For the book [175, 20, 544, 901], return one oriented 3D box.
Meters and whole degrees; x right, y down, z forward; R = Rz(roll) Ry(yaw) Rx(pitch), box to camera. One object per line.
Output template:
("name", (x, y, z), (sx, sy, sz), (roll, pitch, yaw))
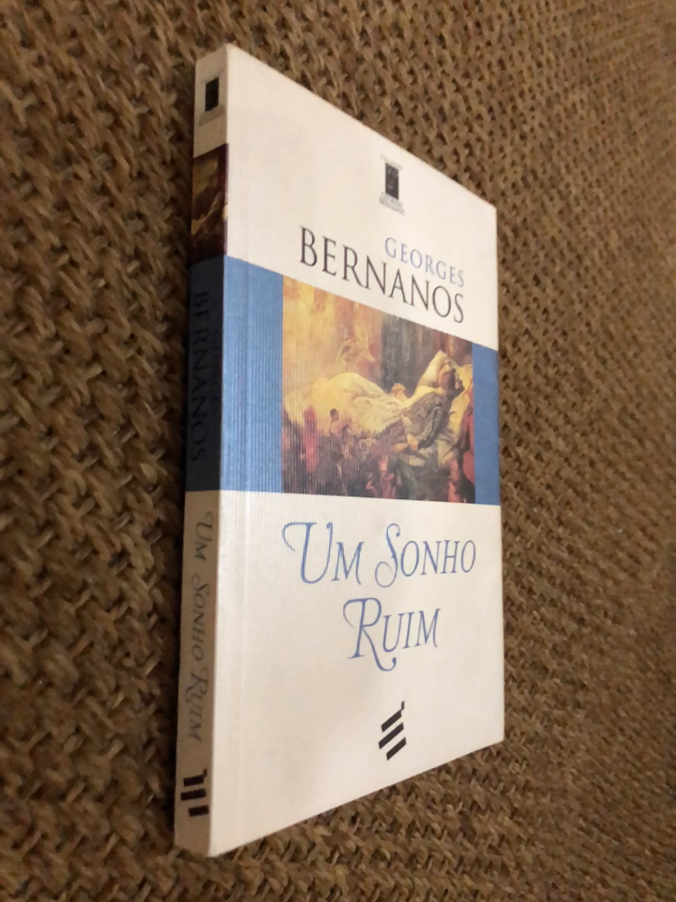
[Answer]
("book", (0.017, 0.002, 0.228), (0.141, 0.020, 0.199), (7, 80, -48))
